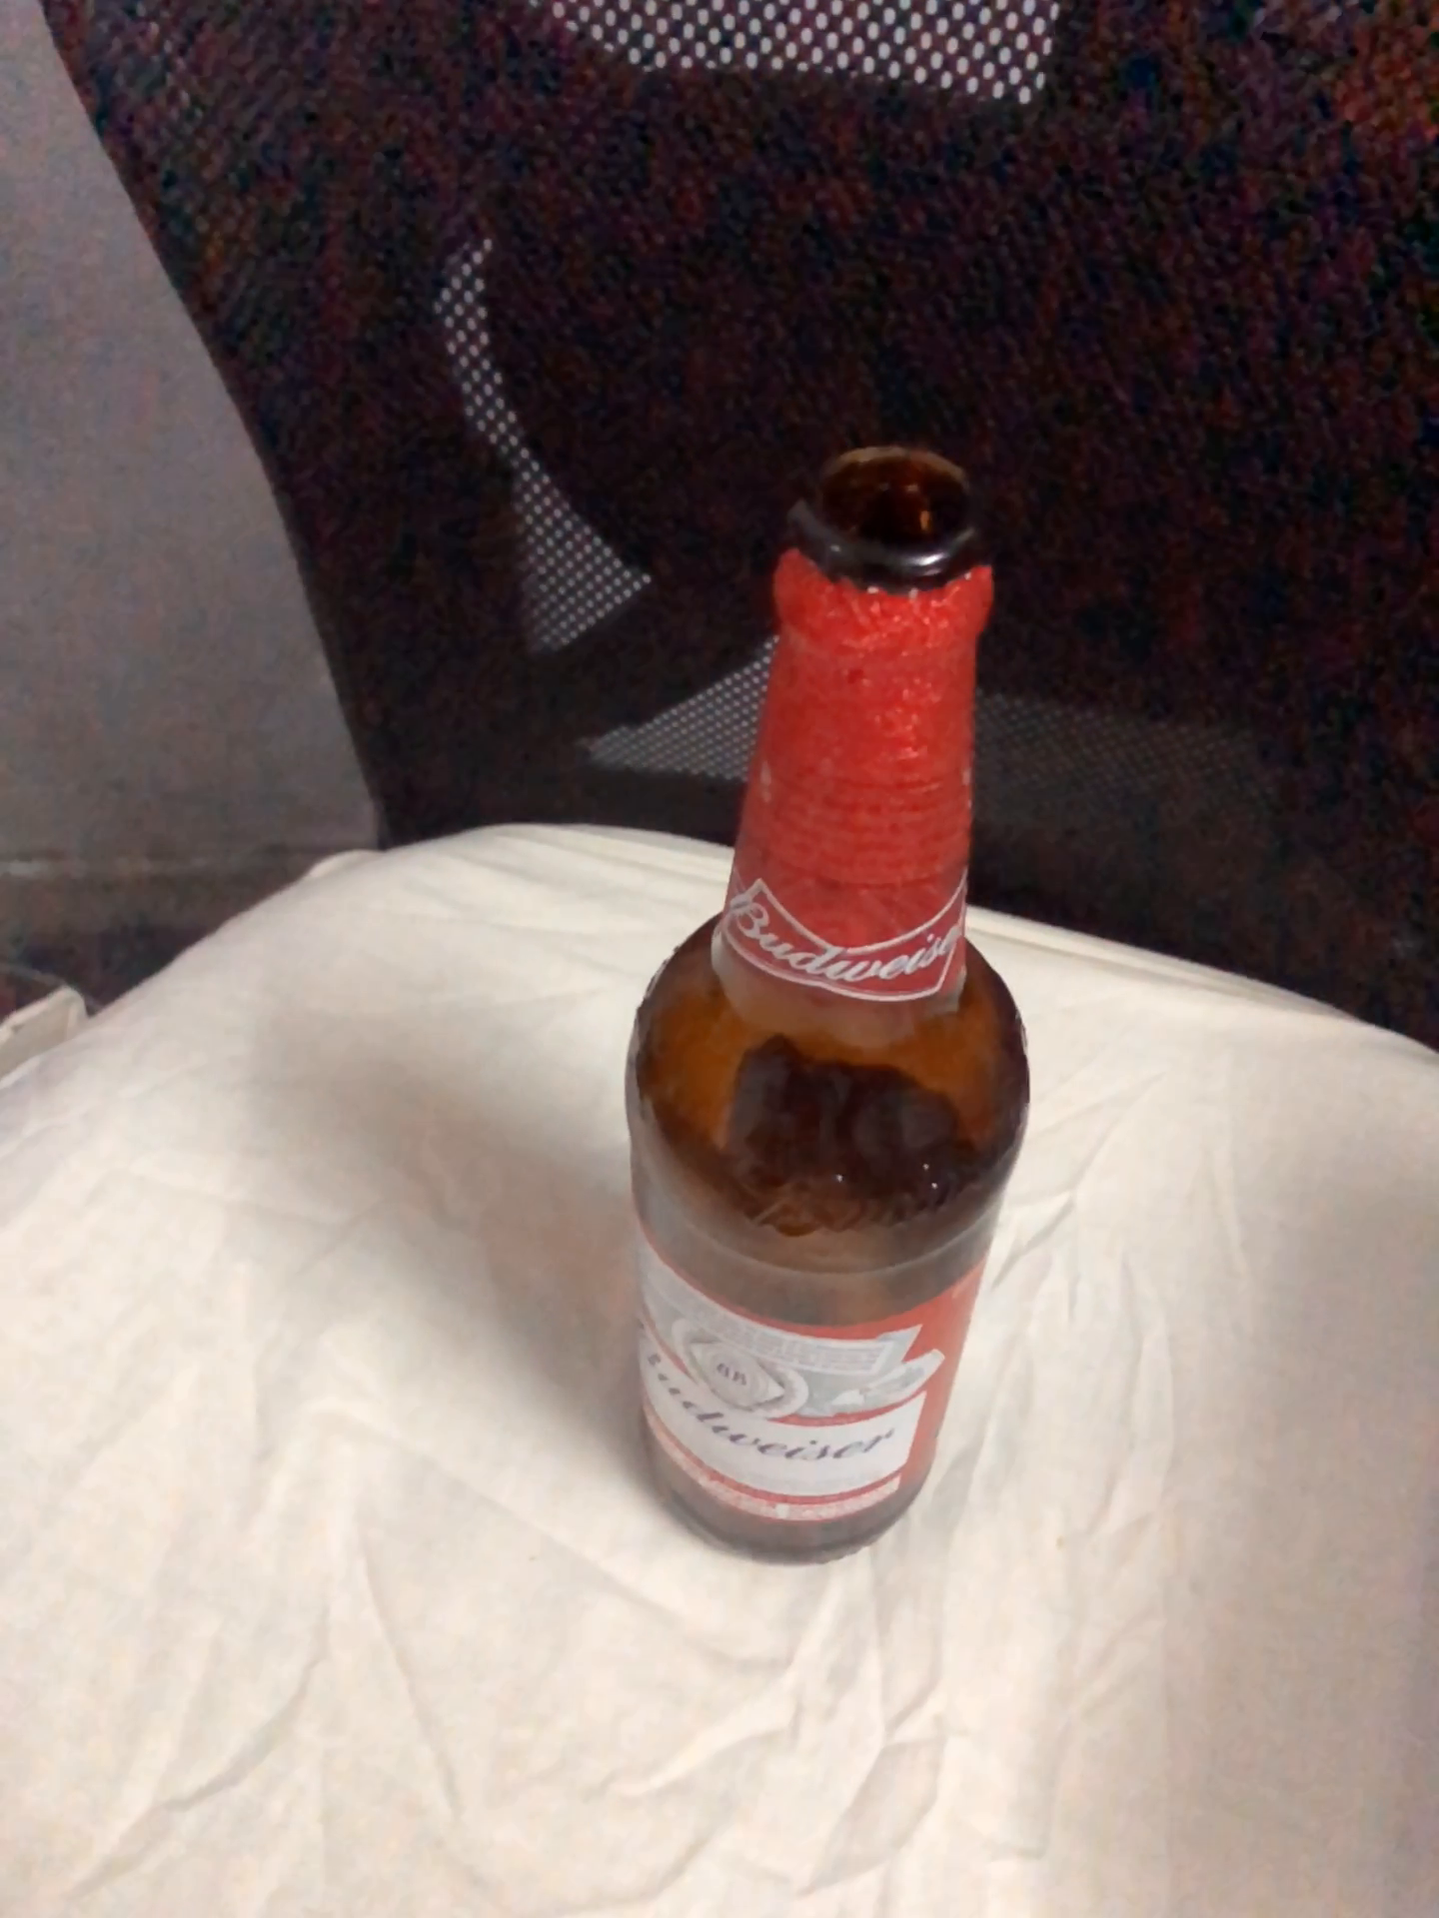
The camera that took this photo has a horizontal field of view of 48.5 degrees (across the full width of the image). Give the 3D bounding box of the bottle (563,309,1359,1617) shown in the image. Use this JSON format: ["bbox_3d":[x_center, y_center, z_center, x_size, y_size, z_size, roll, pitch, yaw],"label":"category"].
[{"bbox_3d":[0.027,0.034,0.302,0.080,0.279,0.070,18,53,11],"label":"bottle"}]
